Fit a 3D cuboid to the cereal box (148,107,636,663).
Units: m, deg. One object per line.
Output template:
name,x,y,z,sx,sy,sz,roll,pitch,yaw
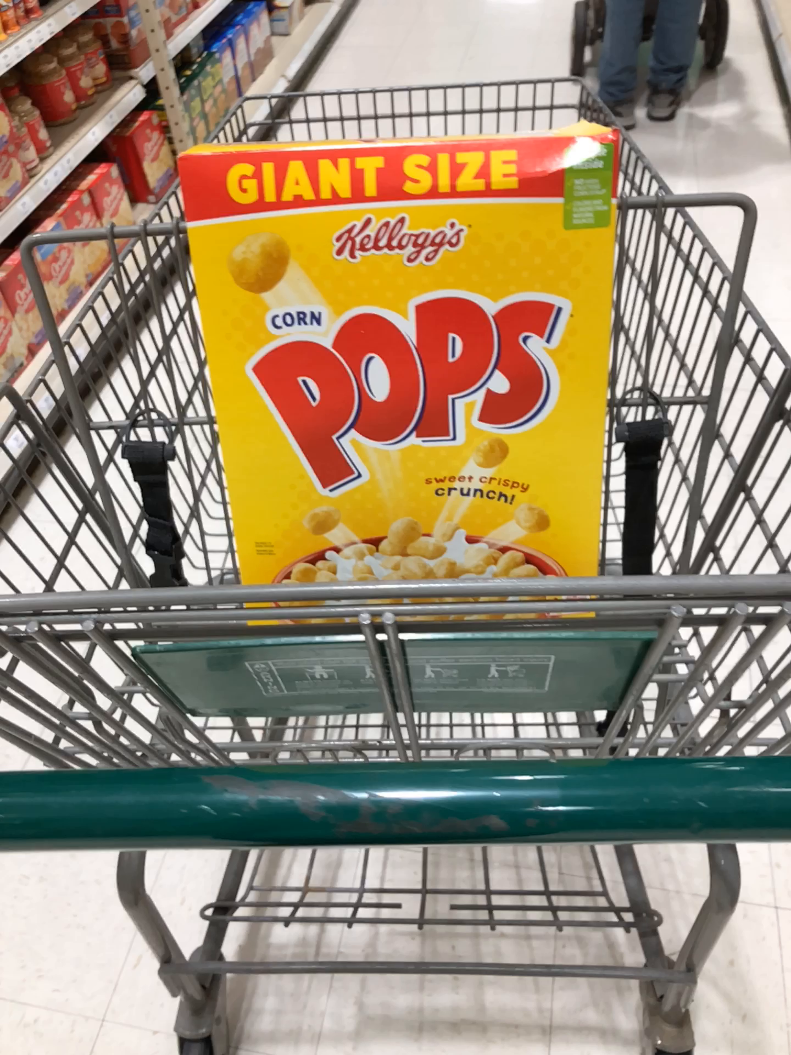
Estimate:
cereal box,0.007,-0.076,0.558,0.250,0.329,0.080,-2,27,3
